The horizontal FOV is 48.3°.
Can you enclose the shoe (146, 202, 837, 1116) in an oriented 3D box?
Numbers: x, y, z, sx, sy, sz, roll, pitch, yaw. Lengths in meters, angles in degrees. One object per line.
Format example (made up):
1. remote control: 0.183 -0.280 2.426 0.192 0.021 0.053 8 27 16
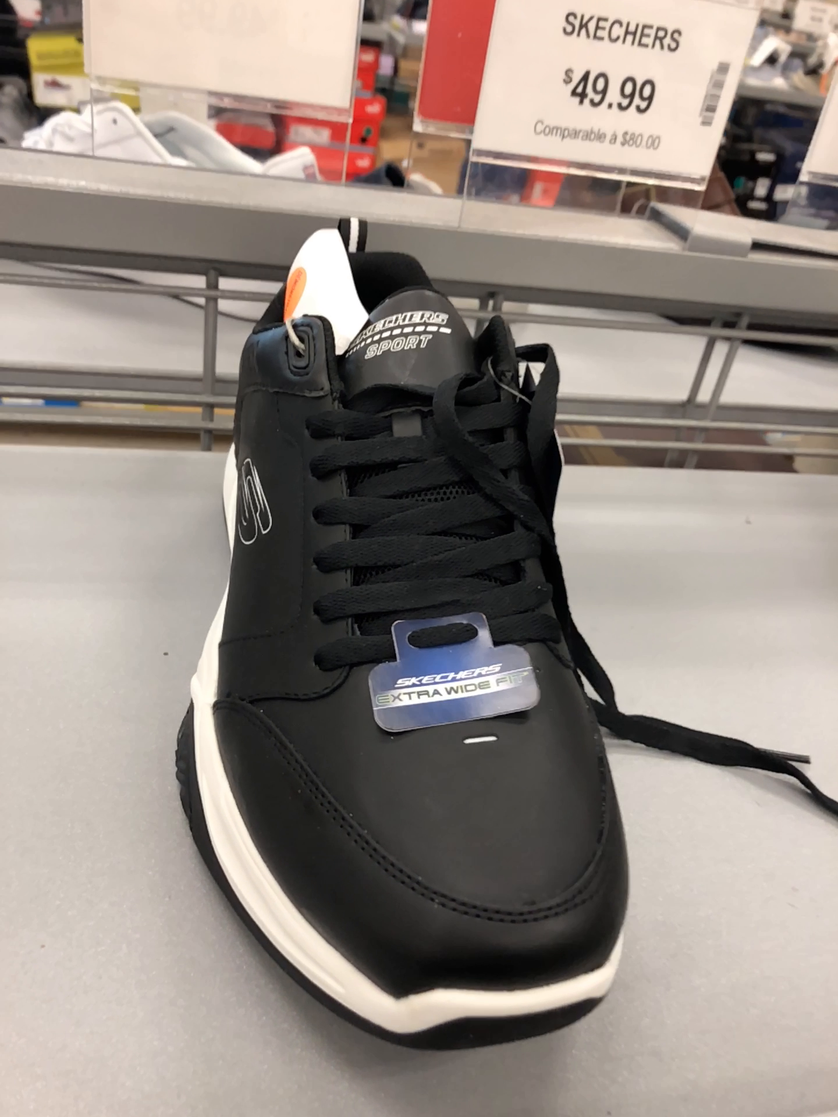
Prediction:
1. shoe: -0.025 -0.015 0.334 0.130 0.109 0.353 1 35 -15
